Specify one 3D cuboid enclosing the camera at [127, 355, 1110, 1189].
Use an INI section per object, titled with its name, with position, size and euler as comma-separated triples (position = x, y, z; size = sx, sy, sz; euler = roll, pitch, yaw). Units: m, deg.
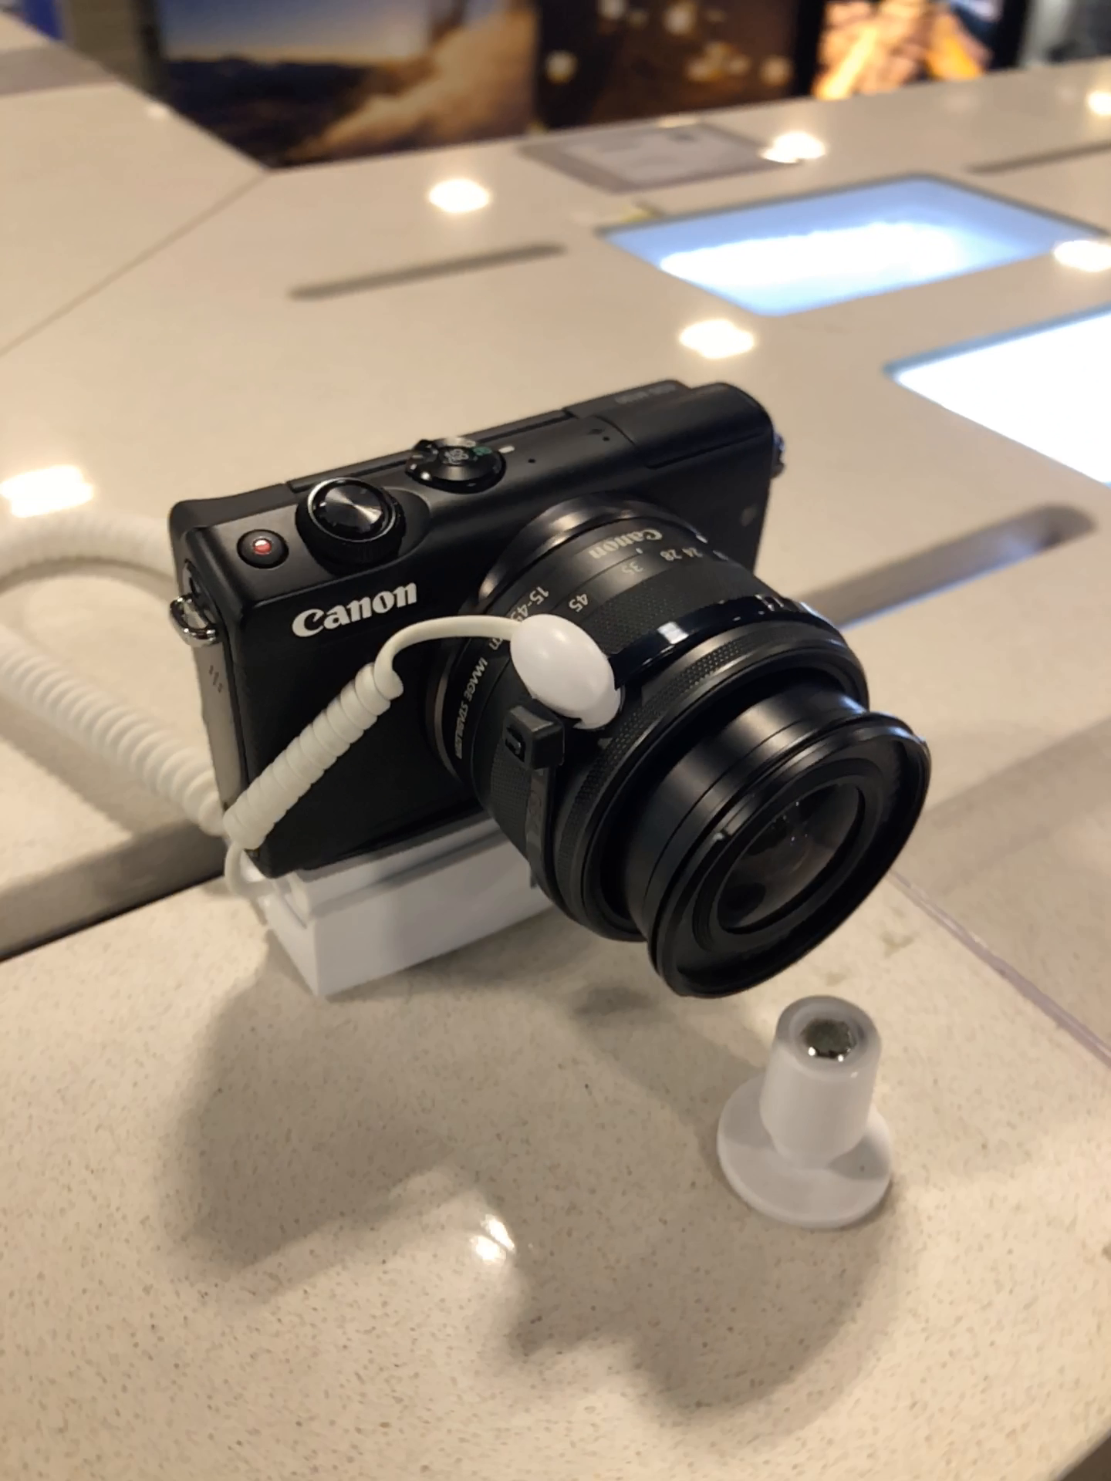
[camera]
position = 0.009, -0.007, 0.203
size = 0.120, 0.060, 0.090
euler = -21, 43, -25
